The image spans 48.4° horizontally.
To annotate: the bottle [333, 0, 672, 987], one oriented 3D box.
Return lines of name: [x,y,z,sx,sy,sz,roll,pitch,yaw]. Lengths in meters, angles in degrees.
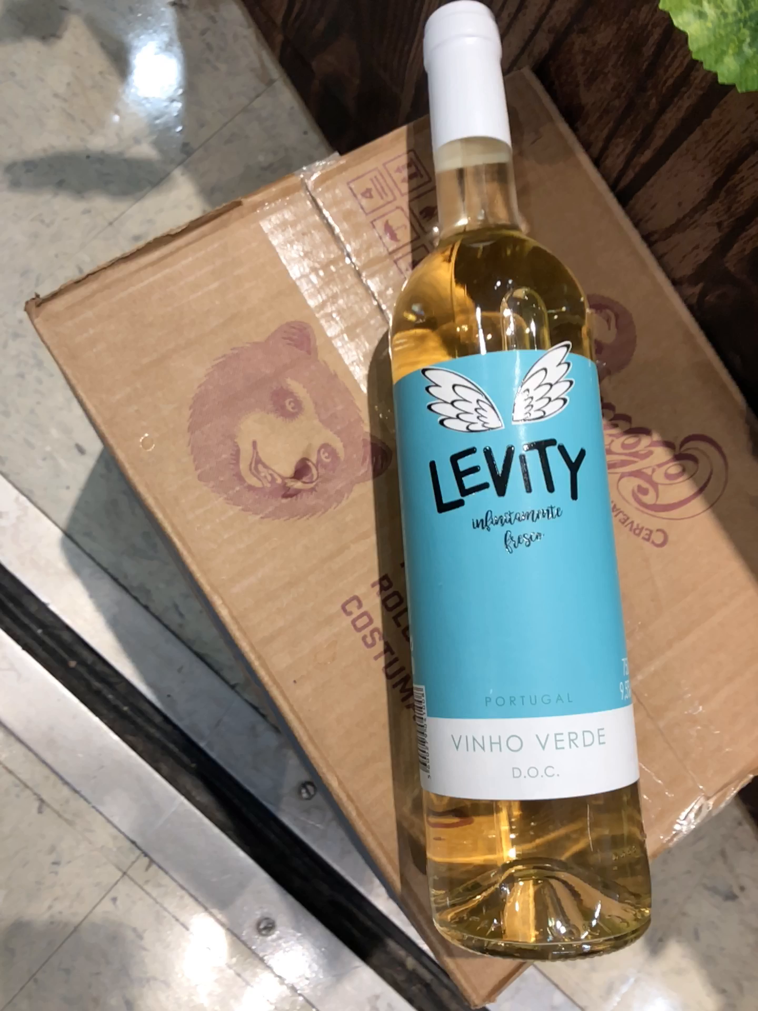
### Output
bottle: [0.035,-0.032,0.288,0.080,0.050,0.340,-2,84,-12]
